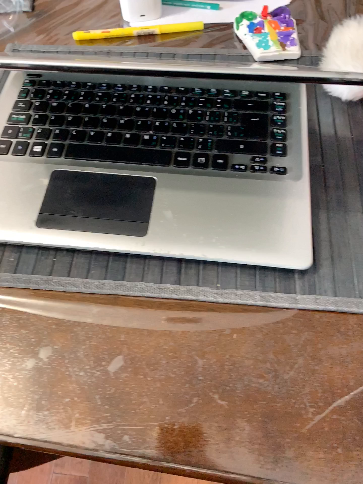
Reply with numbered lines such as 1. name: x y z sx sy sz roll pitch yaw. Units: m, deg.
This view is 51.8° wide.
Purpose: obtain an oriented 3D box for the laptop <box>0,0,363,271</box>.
1. laptop: -0.047 -0.128 0.324 0.344 0.145 0.236 5 64 5
